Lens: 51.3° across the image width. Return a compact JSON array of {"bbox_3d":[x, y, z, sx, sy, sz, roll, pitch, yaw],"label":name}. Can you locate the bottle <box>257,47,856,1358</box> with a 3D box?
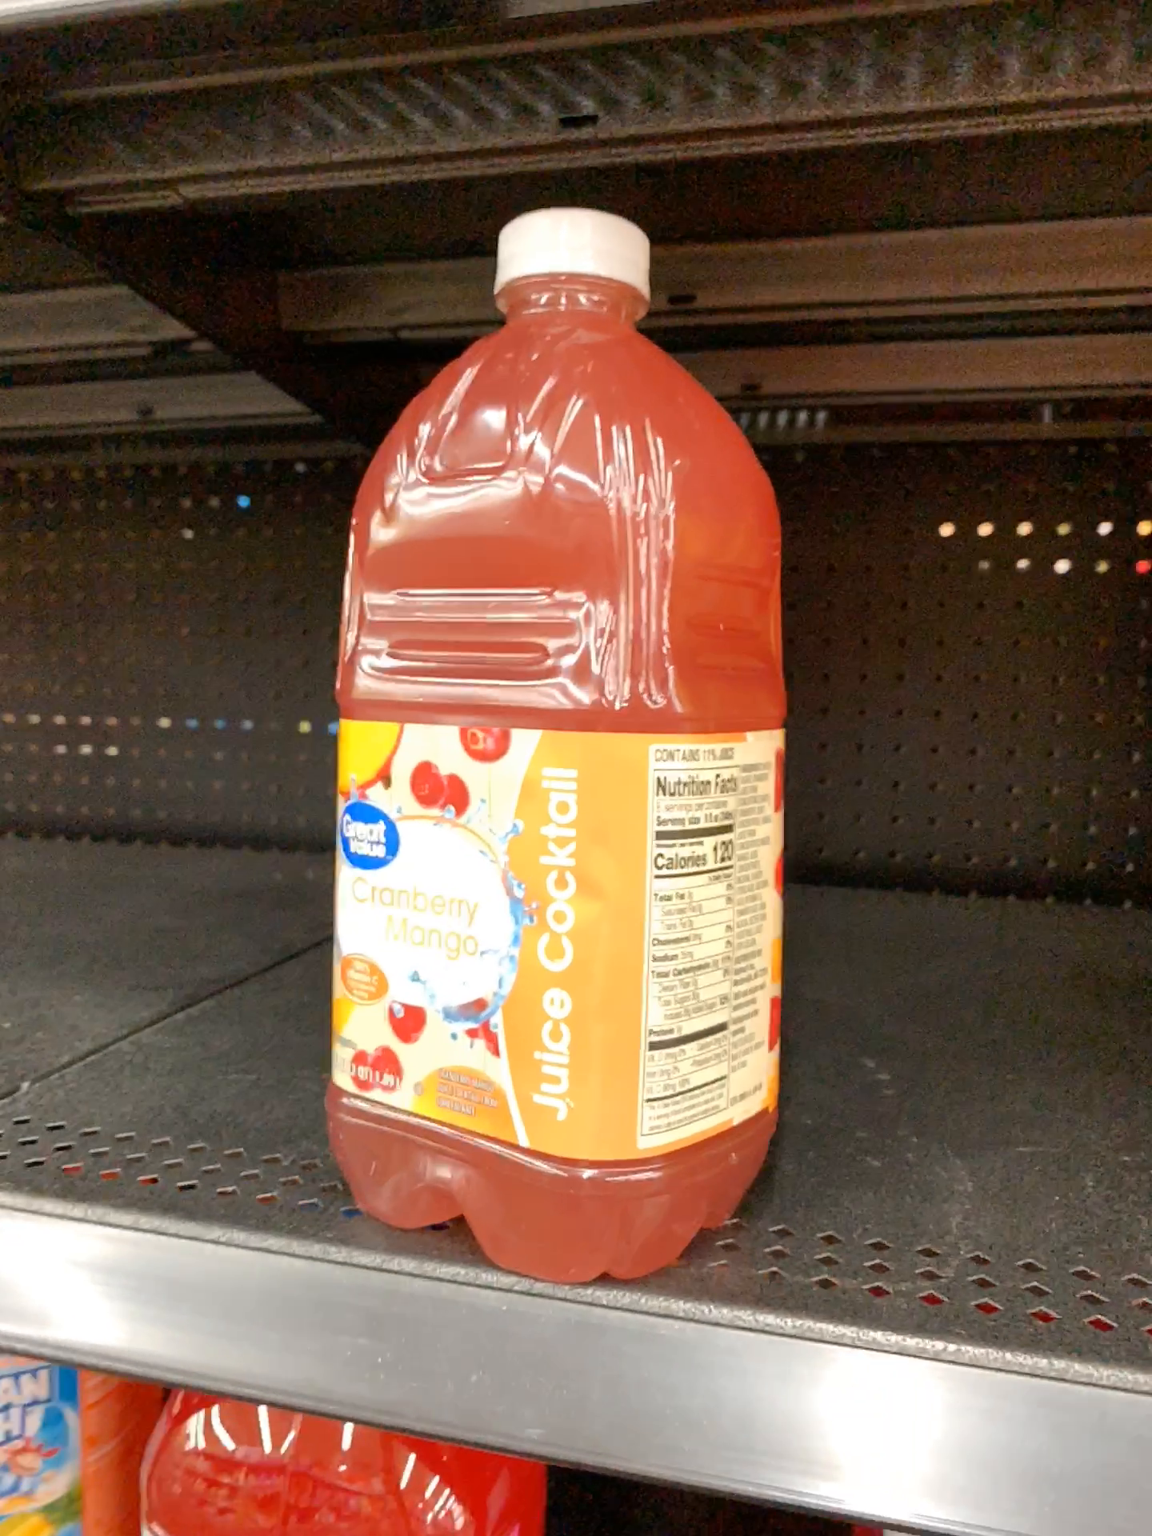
[{"bbox_3d":[-0.005,-0.015,0.326,0.119,0.272,0.101,5,7,37],"label":"bottle"}]
